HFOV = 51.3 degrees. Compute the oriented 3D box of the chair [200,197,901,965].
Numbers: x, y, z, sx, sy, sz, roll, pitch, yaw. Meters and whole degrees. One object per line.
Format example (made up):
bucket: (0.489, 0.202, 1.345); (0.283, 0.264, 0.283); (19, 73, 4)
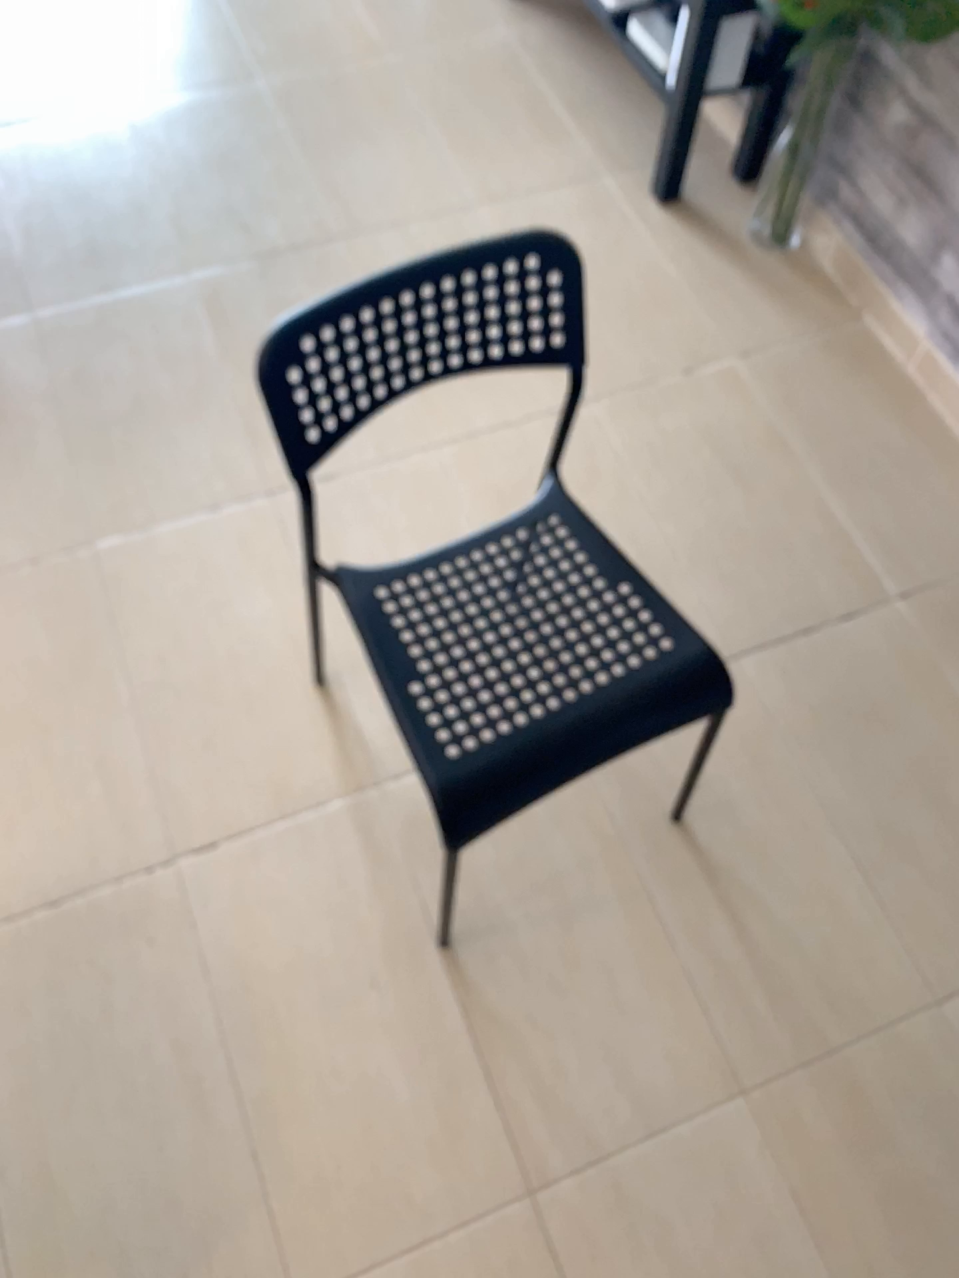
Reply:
chair: (0.033, -0.012, 1.171); (0.420, 0.688, 0.491); (-25, 65, -15)
